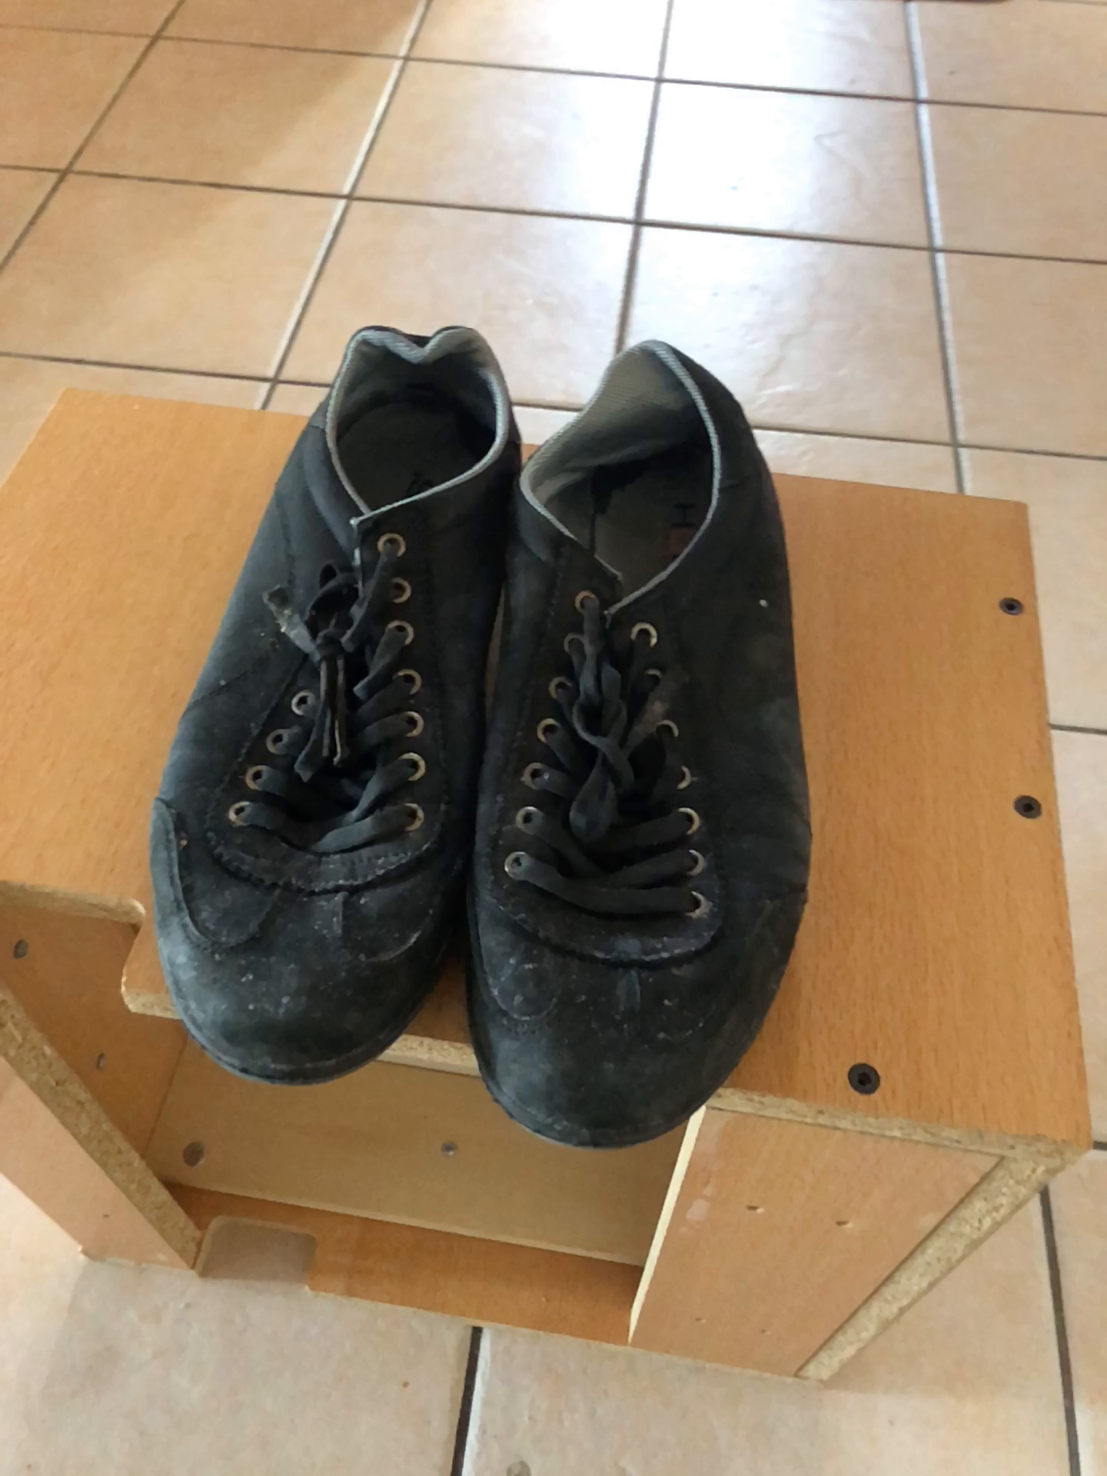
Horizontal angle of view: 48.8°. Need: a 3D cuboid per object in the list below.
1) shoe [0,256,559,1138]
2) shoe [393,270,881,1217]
[{"bbox_3d":[-0.069,-0.034,0.415,0.110,0.089,0.302,5,54,3],"label":"shoe"},{"bbox_3d":[0.034,-0.021,0.403,0.110,0.089,0.312,5,54,3],"label":"shoe"}]
